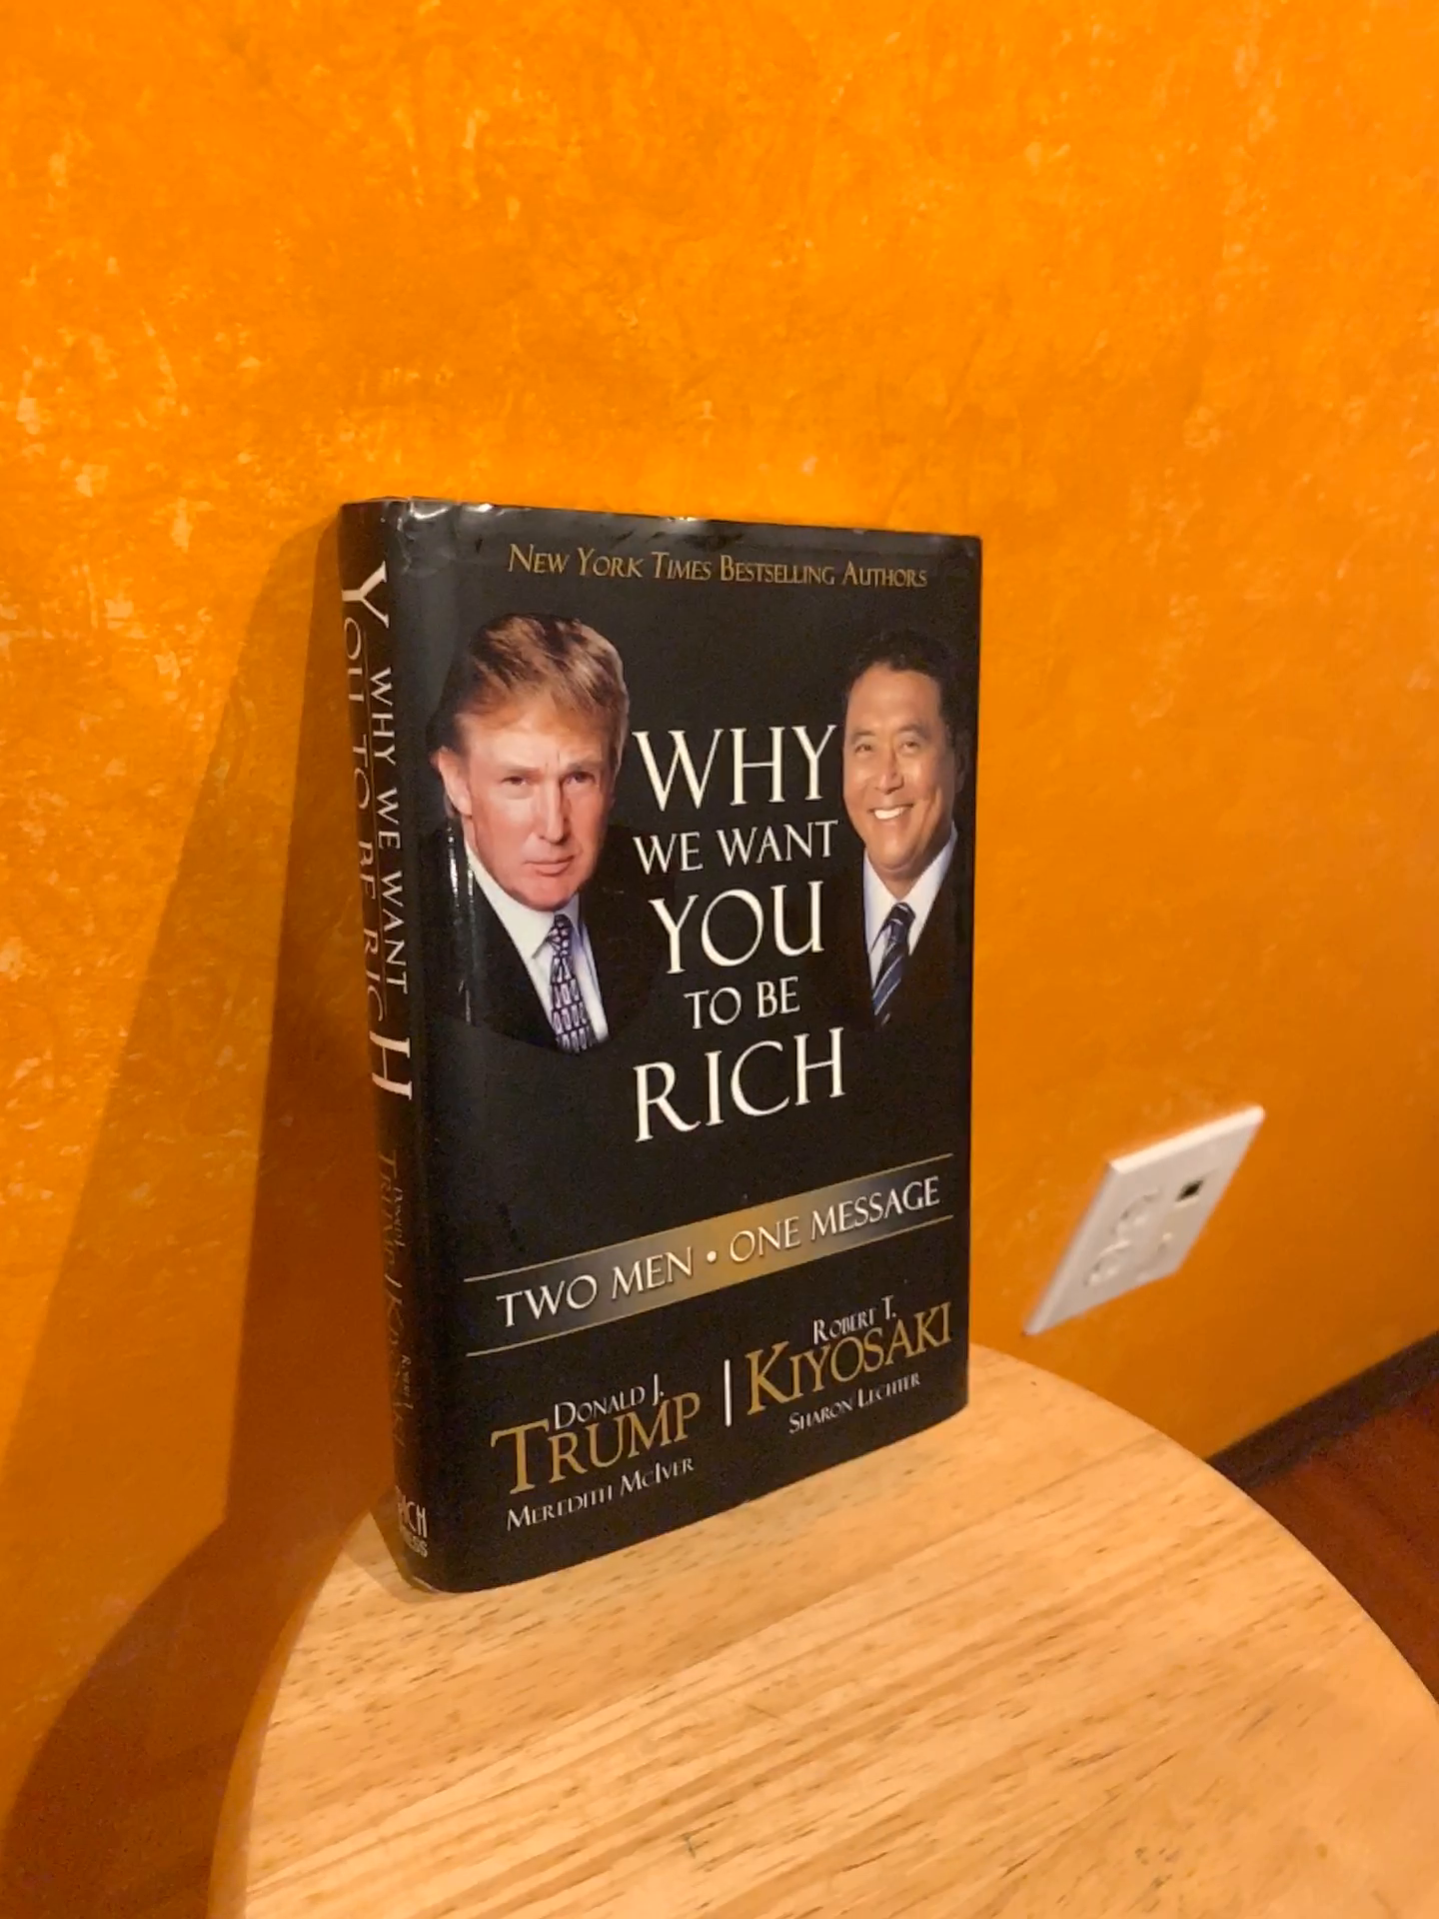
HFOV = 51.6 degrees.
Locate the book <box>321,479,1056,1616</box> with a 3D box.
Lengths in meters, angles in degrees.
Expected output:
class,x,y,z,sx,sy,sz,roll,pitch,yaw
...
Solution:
class,x,y,z,sx,sy,sz,roll,pitch,yaw
book,-0.001,0.012,0.326,0.151,0.210,0.044,-7,13,-33
